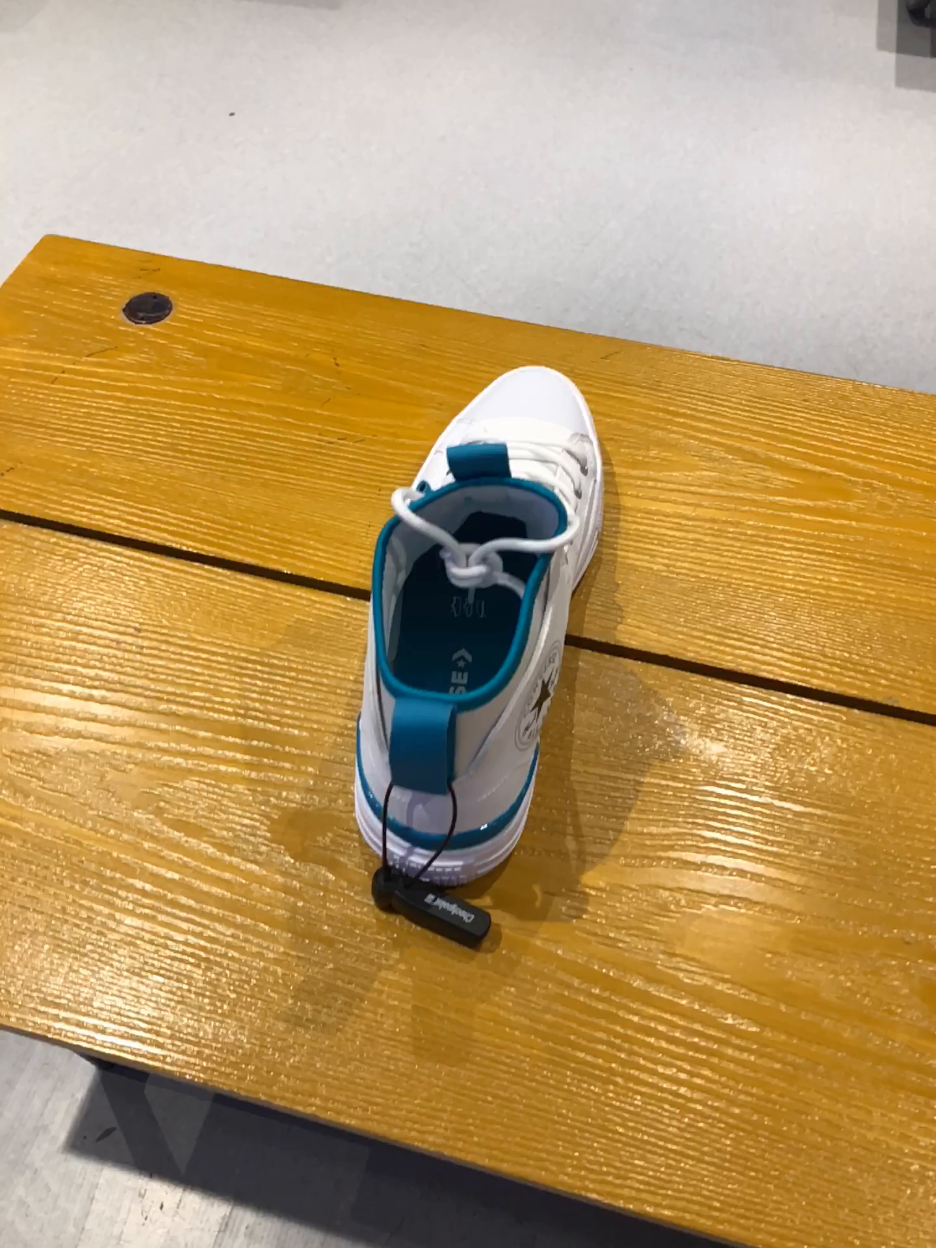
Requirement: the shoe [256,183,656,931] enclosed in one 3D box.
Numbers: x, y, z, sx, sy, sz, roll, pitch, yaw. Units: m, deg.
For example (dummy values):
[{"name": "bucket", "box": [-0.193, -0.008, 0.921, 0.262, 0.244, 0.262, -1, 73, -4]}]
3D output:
[{"name": "shoe", "box": [0.009, -0.038, 0.470, 0.108, 0.158, 0.294, 8, 56, 5]}]
